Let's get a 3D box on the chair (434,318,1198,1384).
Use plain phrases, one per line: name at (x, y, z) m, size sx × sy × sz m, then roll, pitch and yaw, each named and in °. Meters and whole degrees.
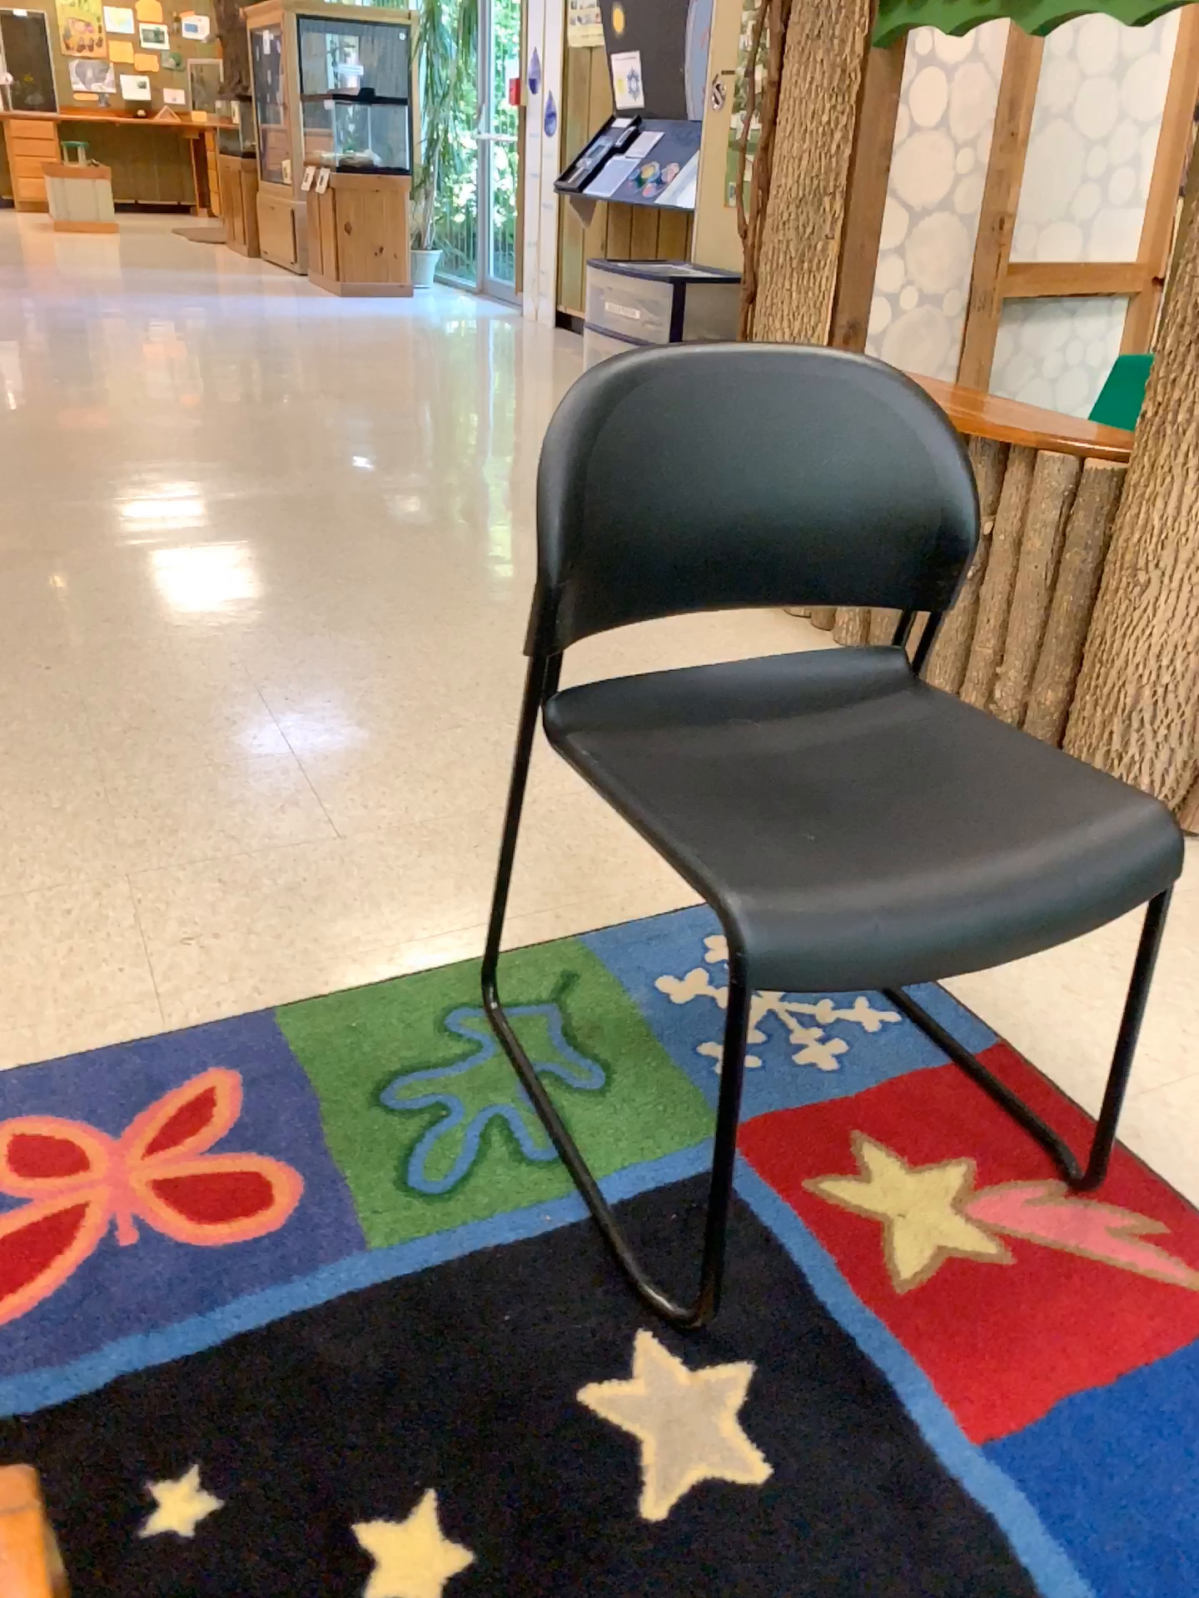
chair at (0.203, -0.015, 1.189) m, size 0.570 × 0.785 × 0.533 m, roll -10°, pitch 30°, yaw -25°
